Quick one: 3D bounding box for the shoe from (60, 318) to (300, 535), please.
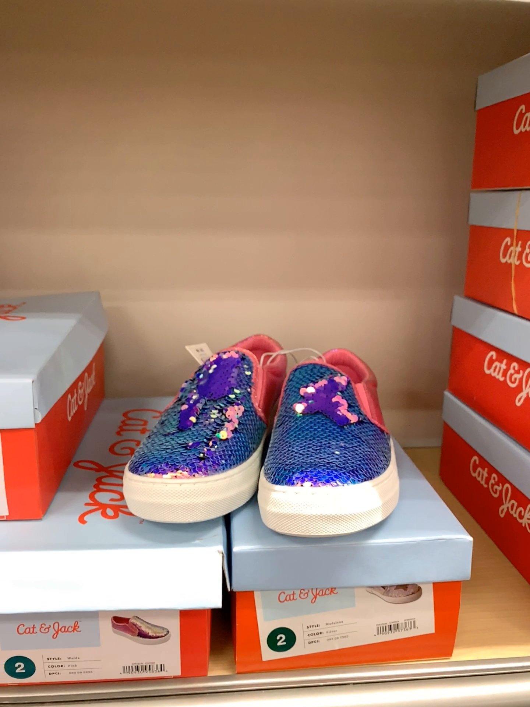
[{"bbox_3d":[-0.042,0.034,0.407,0.100,0.074,0.211,3,16,13],"label":"shoe"}]

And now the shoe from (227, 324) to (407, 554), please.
[{"bbox_3d":[0.036,0.040,0.386,0.090,0.074,0.211,1,16,6],"label":"shoe"}]
